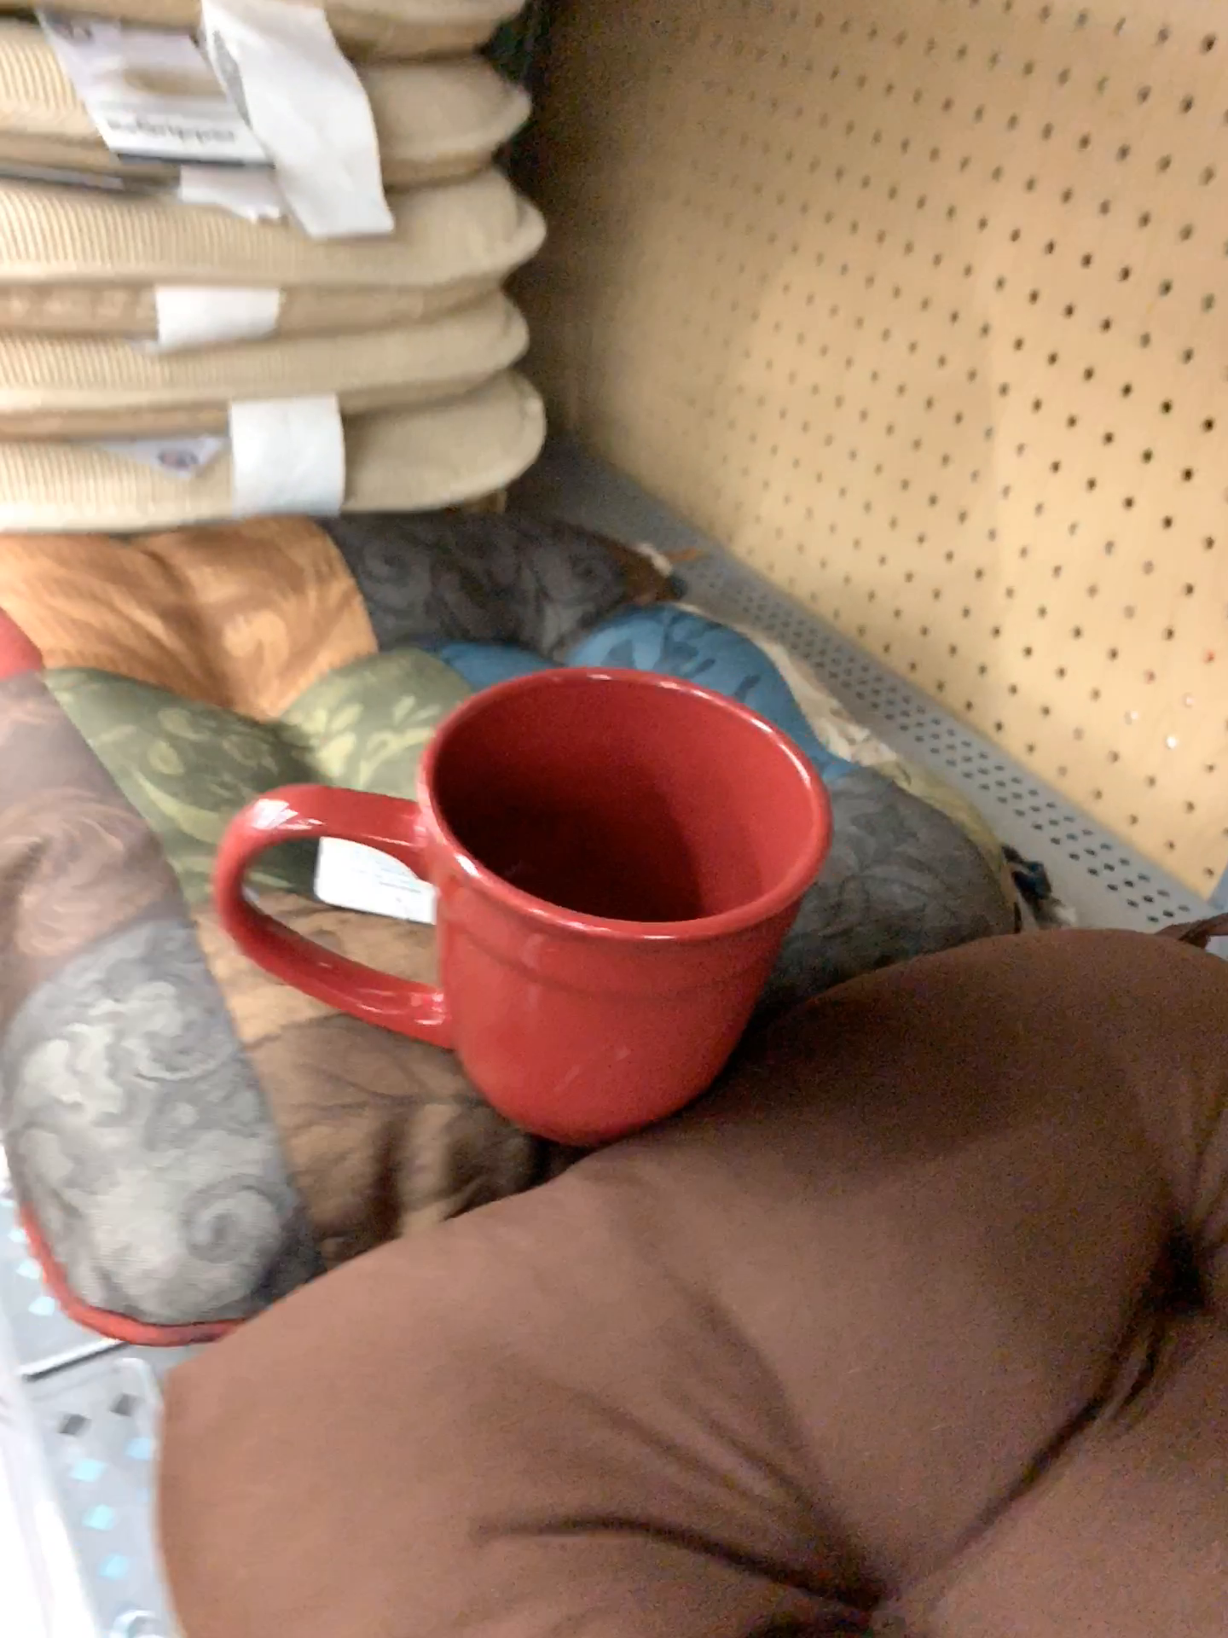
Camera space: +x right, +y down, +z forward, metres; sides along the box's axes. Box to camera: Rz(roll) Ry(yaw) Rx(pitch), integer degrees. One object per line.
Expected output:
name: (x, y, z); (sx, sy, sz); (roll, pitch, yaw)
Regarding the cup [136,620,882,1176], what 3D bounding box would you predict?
cup: (-0.029, 0.018, 0.323); (0.150, 0.090, 0.101); (0, 42, -10)
